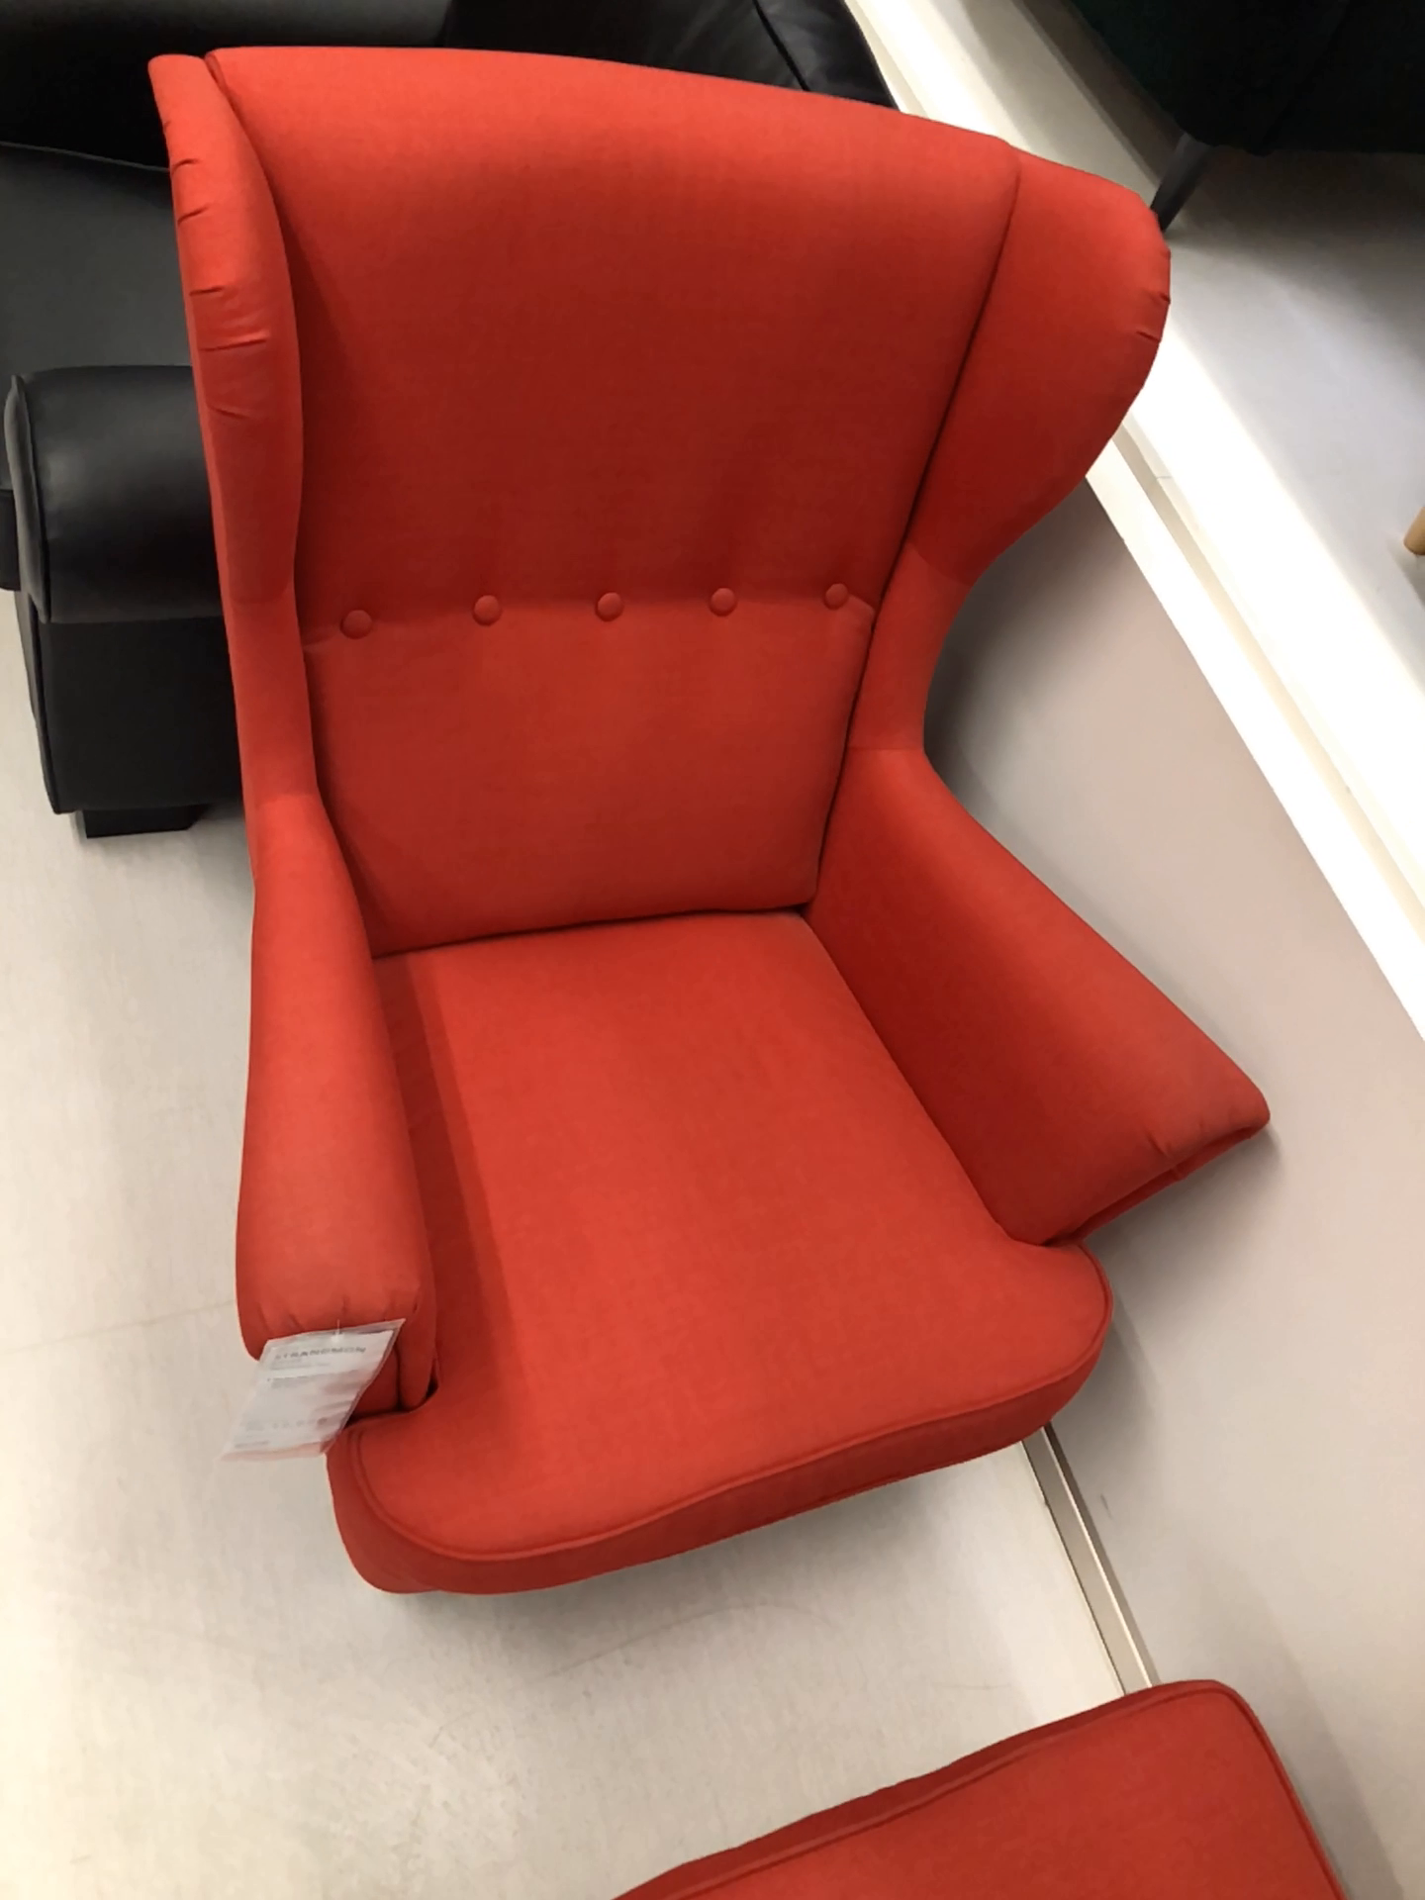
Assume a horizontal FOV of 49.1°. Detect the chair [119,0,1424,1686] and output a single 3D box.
[{"bbox_3d":[0.049,-0.048,1.306,0.902,0.975,0.843,-8,61,-24],"label":"chair"}]
